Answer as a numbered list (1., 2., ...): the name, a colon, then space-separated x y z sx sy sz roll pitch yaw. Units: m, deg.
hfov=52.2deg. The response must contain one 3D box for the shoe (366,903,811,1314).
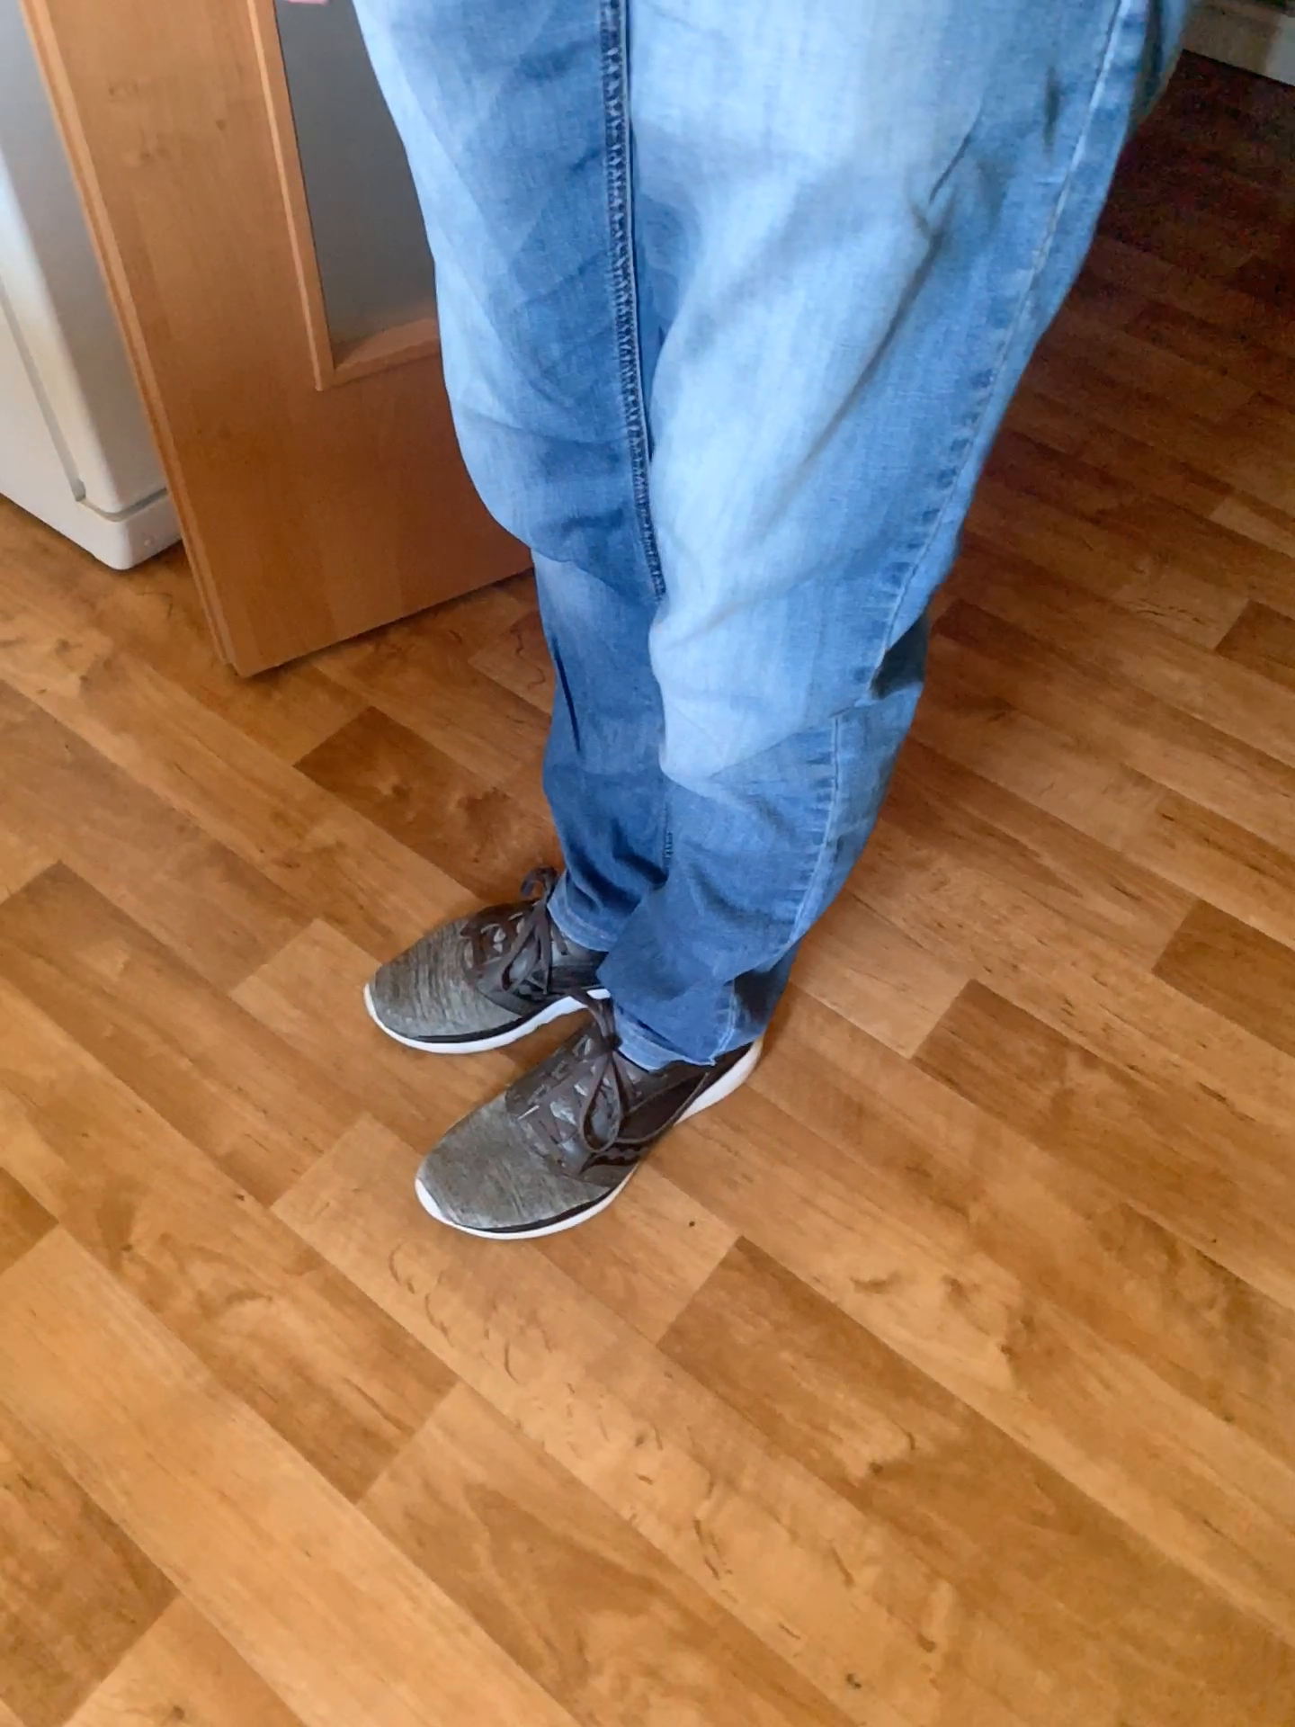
1. shoe: -0.039 0.172 0.969 0.290 0.100 0.134 -31 60 -24

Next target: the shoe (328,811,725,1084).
1. shoe: -0.095 0.064 1.047 0.280 0.100 0.124 -12 54 -12
